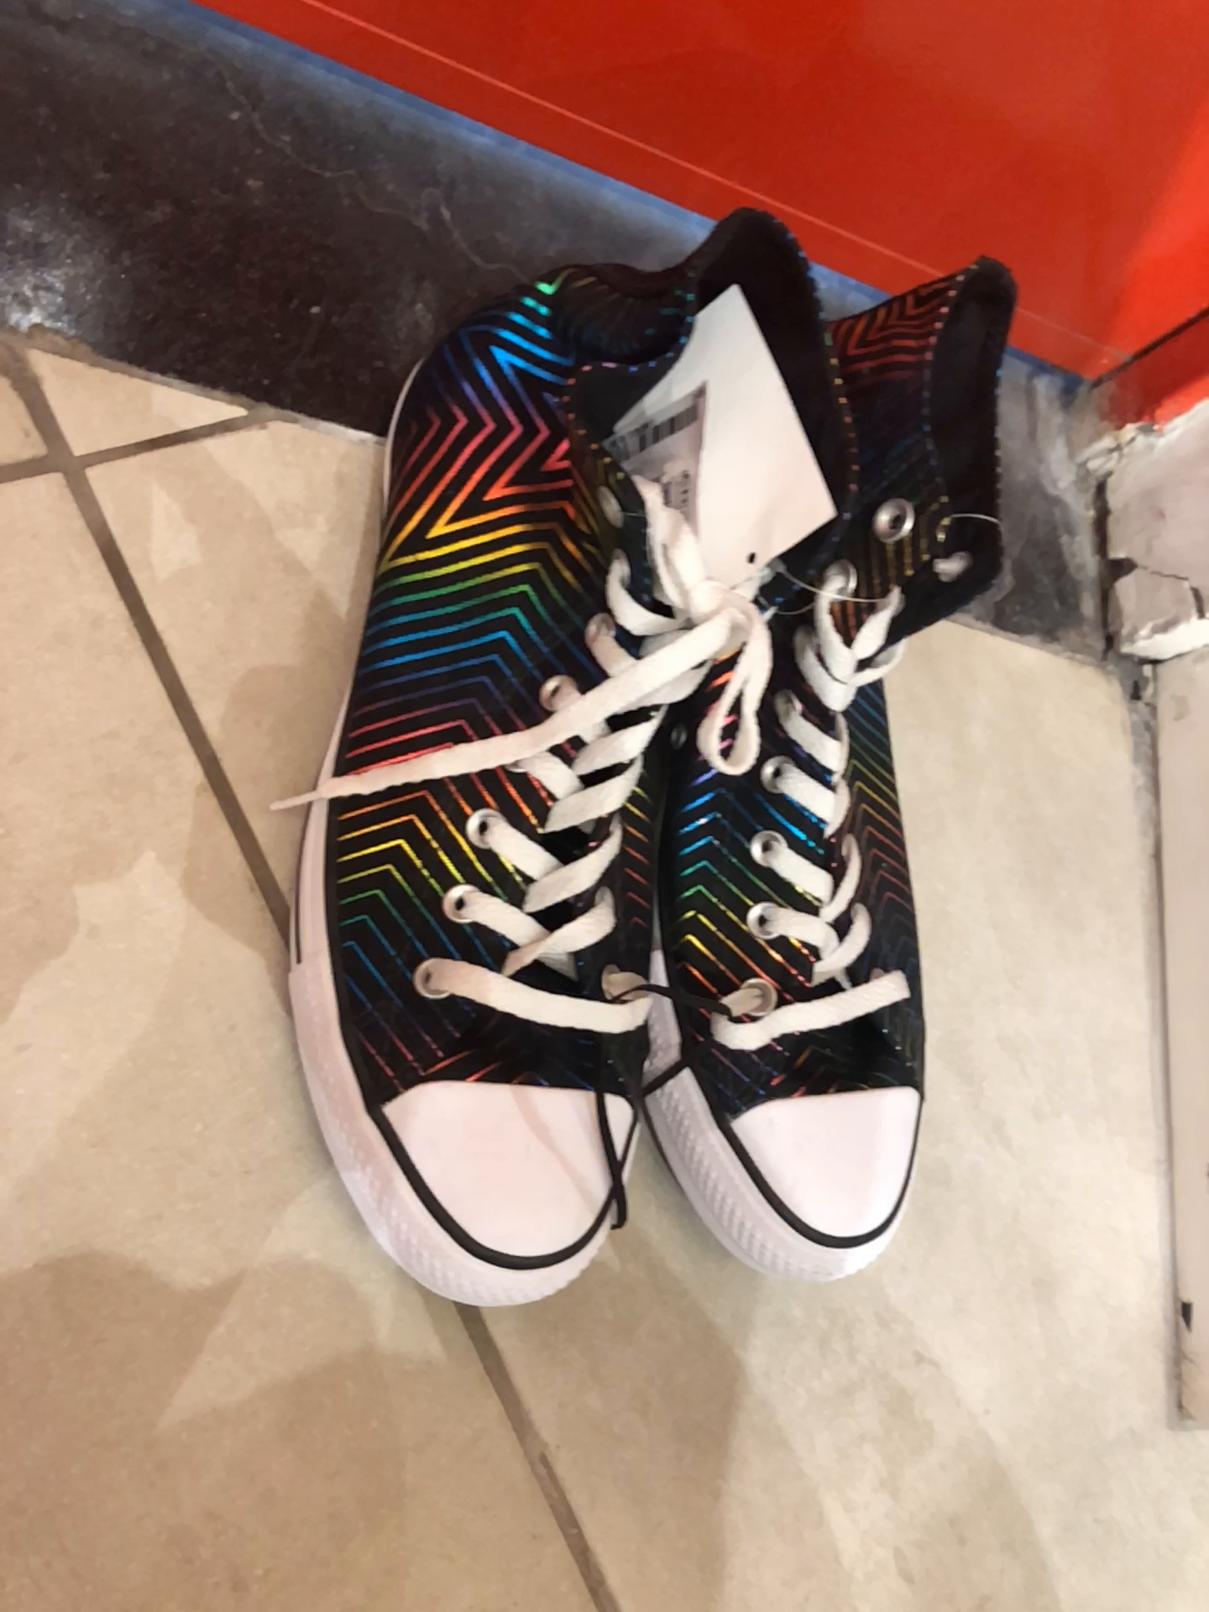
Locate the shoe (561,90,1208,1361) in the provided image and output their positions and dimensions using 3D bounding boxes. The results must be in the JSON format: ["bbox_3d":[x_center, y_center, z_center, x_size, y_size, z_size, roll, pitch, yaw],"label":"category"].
[{"bbox_3d":[0.072,-0.017,0.400,0.110,0.139,0.310,4,76,-26],"label":"shoe"}]

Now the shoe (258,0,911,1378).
[{"bbox_3d":[-0.013,-0.026,0.365,0.110,0.139,0.310,7,75,-26],"label":"shoe"}]
